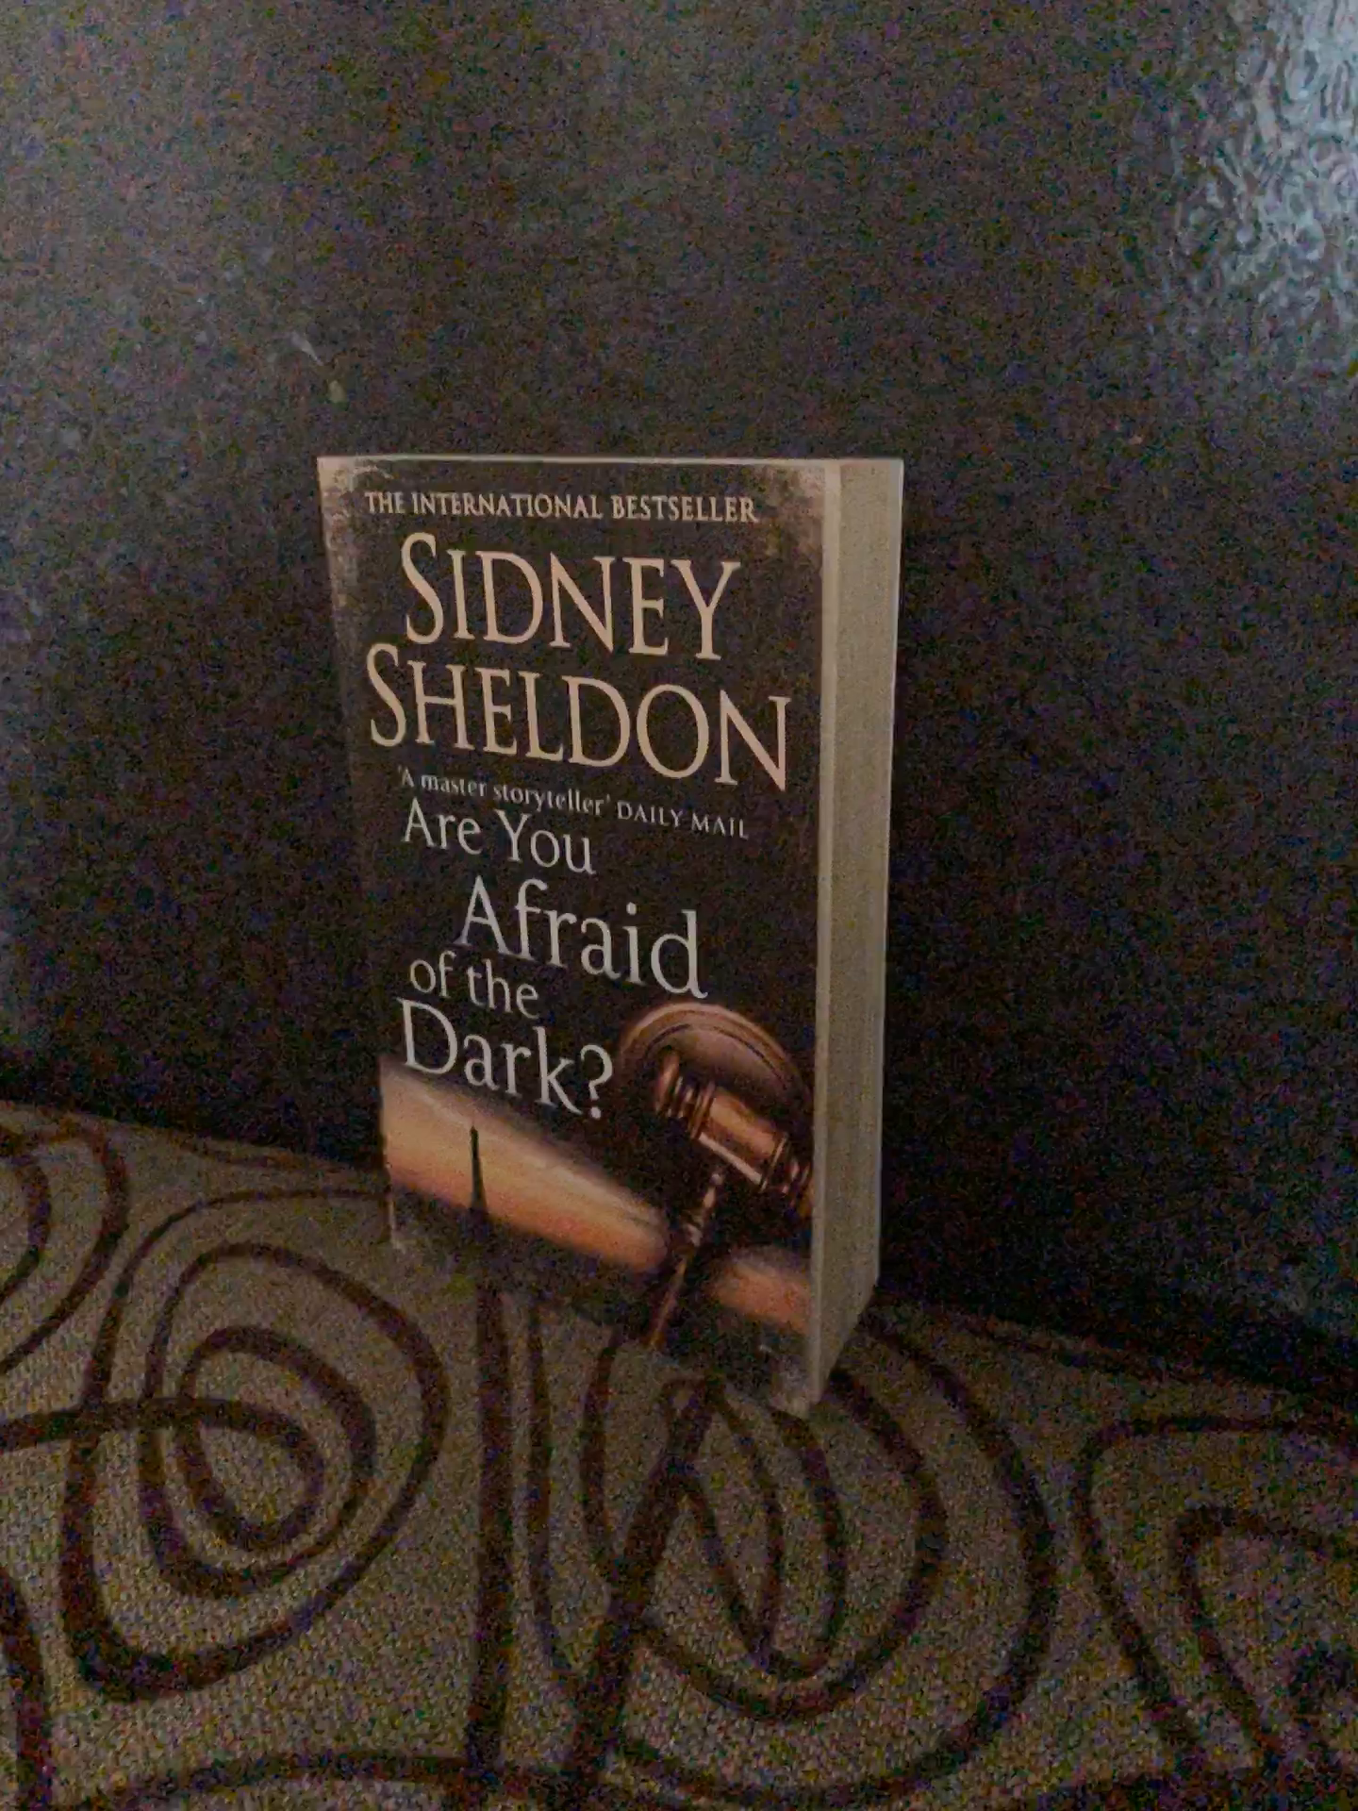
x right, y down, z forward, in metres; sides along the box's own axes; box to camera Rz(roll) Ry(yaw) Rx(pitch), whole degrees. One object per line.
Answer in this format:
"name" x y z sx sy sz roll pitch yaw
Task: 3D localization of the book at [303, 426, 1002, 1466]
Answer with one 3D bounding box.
"book" -0.011 0.003 0.280 0.120 0.179 0.040 13 21 27
